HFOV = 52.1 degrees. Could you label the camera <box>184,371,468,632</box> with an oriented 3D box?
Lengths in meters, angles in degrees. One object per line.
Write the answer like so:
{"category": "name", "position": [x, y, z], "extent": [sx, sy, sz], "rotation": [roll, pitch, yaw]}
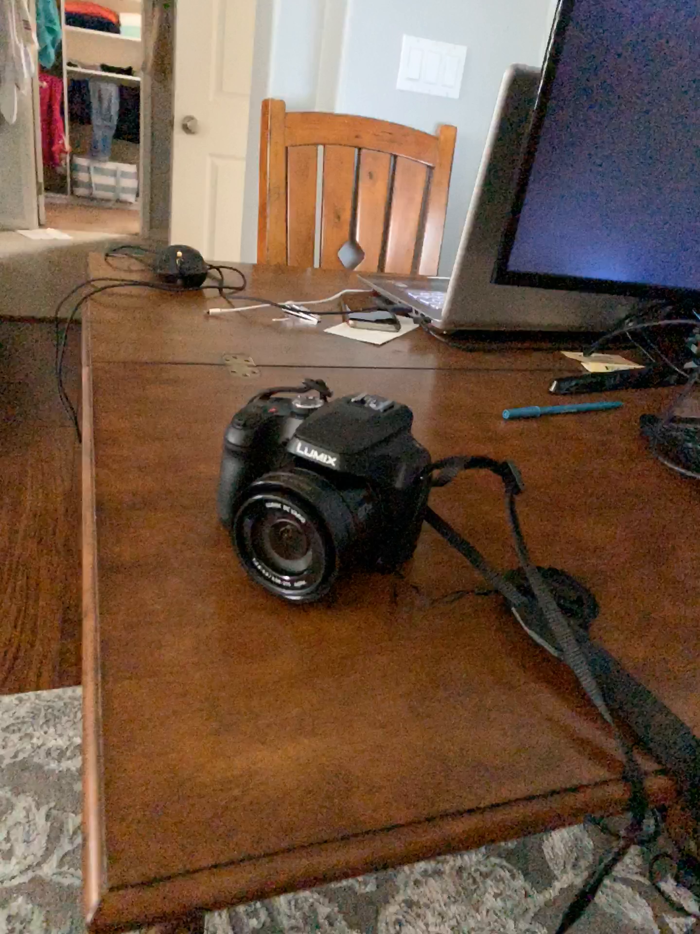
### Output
{"category": "camera", "position": [-0.014, 0.012, 0.447], "extent": [0.130, 0.089, 0.111], "rotation": [19, 28, 21]}
